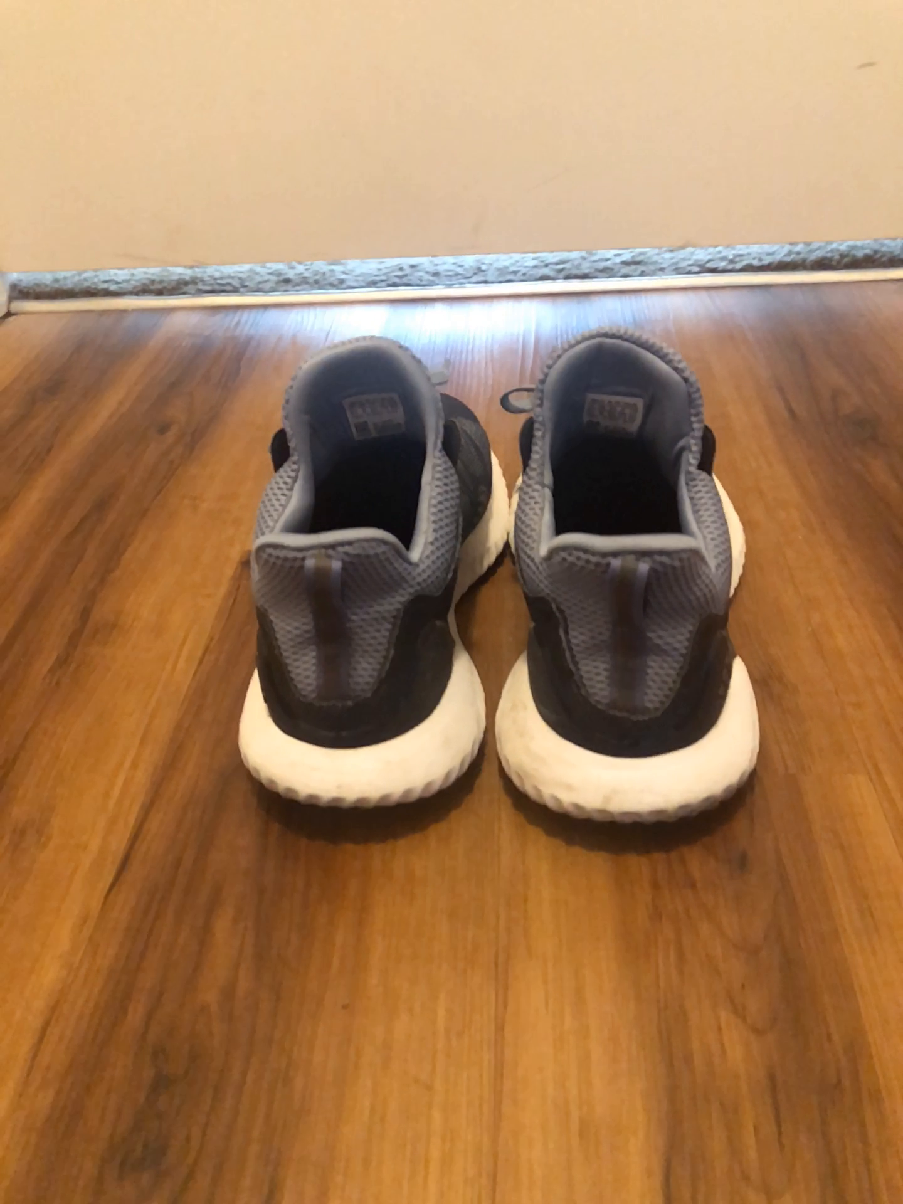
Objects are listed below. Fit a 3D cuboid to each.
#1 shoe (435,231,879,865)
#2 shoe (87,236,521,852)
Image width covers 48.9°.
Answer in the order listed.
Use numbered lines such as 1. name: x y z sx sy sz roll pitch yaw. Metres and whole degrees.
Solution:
1. shoe: 0.086 -0.057 0.470 0.131 0.130 0.336 2 37 8
2. shoe: -0.035 -0.056 0.483 0.133 0.135 0.335 -1 36 5
